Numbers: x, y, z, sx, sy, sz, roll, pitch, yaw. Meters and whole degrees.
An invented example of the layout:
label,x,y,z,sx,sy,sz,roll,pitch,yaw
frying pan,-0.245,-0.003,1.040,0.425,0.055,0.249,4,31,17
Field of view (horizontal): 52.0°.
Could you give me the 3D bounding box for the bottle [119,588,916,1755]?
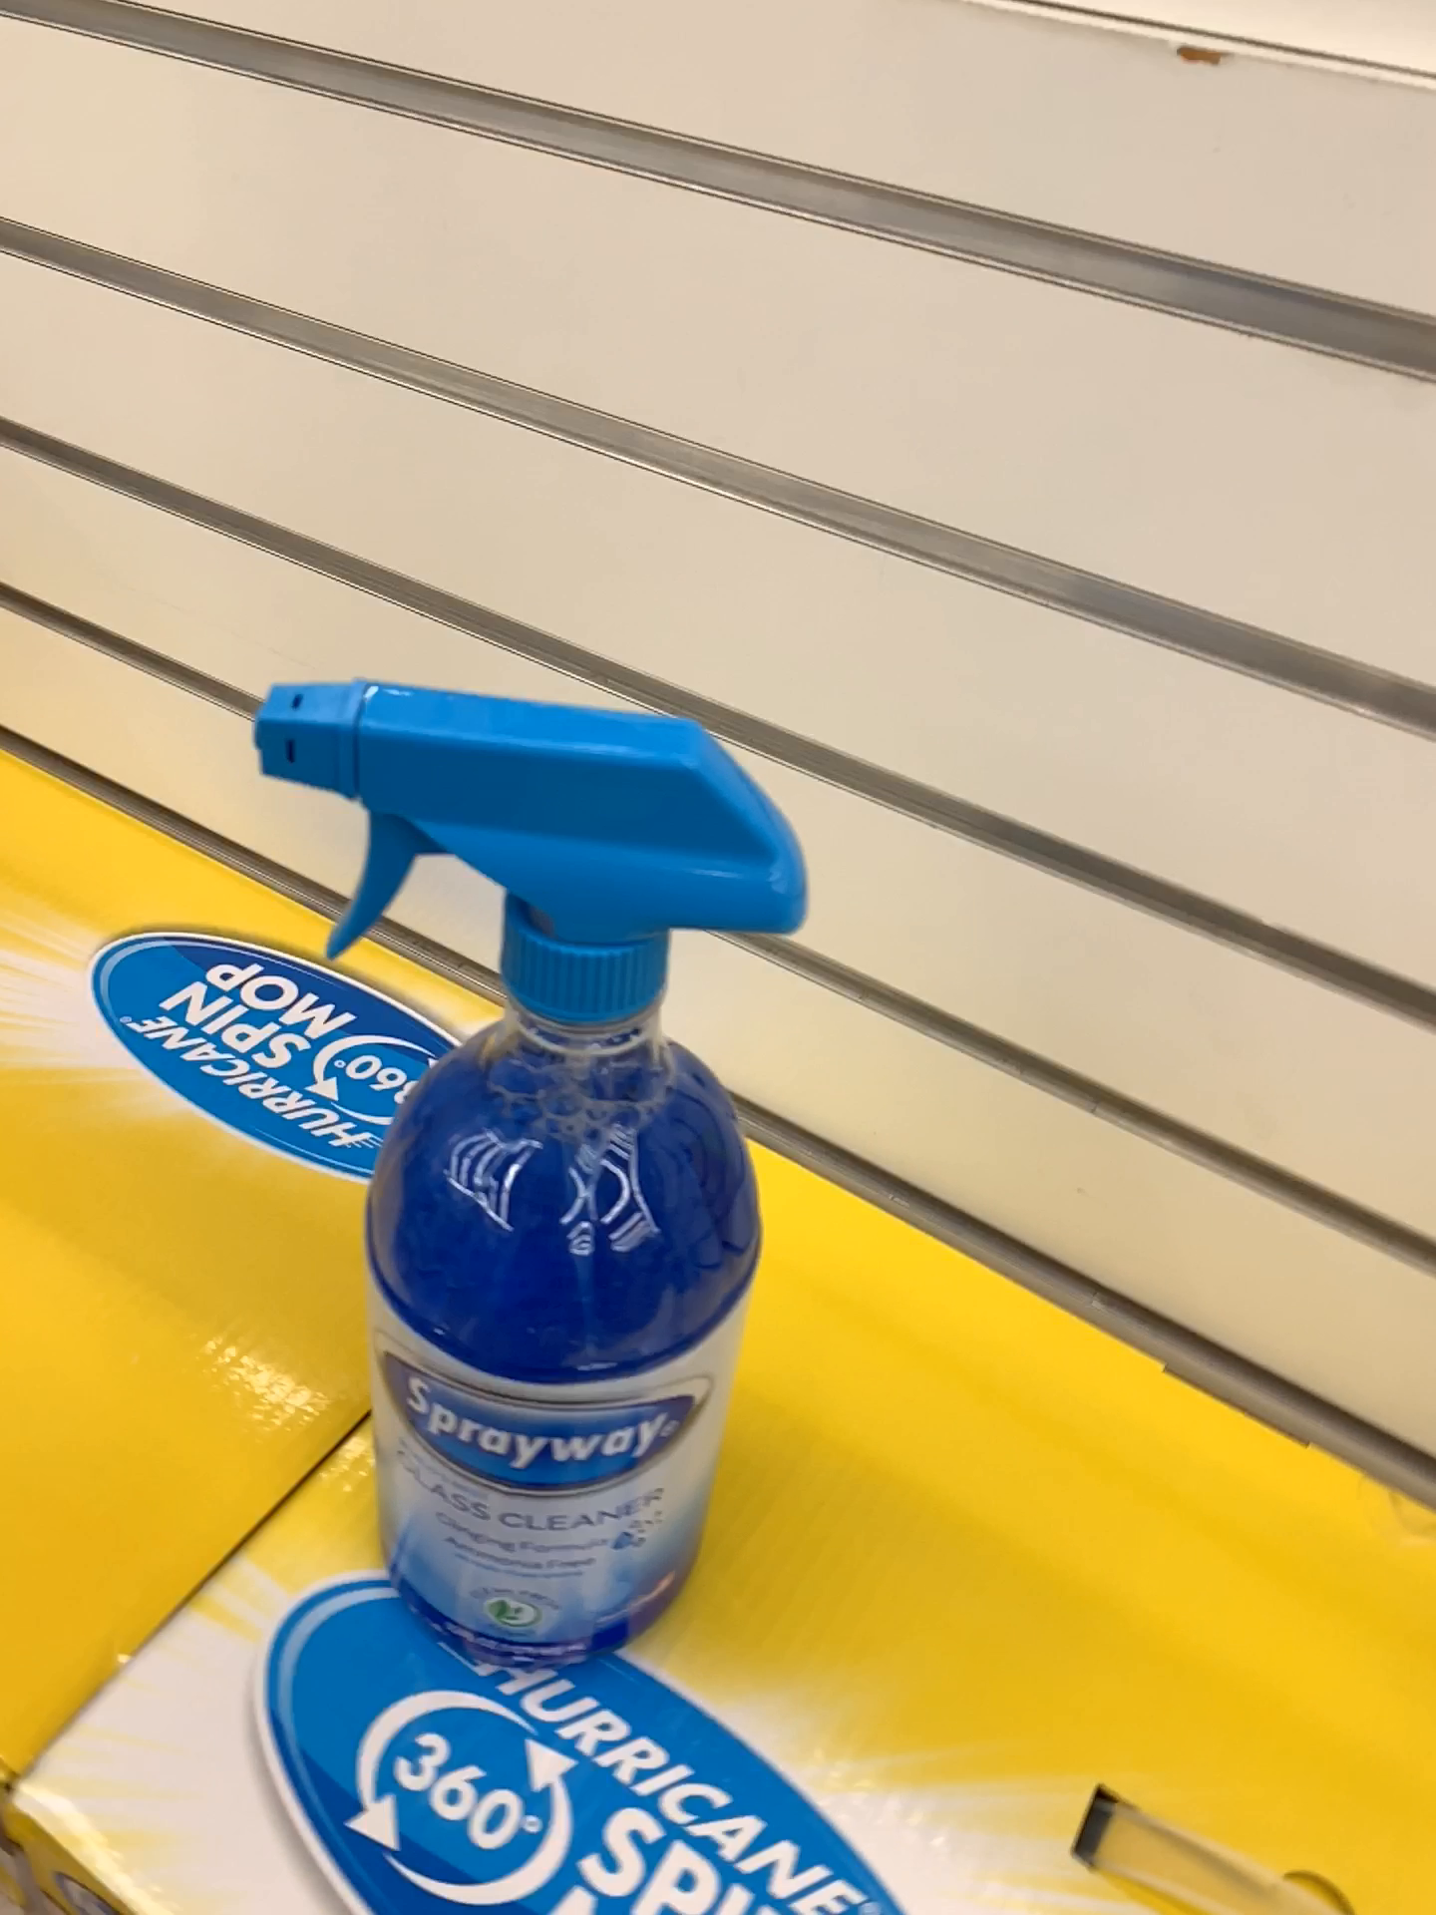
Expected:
label,x,y,z,sx,sy,sz,roll,pitch,yaw
bottle,-0.038,0.060,0.317,0.110,0.239,0.090,11,38,4
